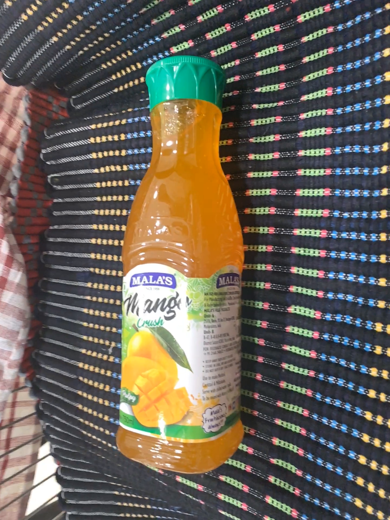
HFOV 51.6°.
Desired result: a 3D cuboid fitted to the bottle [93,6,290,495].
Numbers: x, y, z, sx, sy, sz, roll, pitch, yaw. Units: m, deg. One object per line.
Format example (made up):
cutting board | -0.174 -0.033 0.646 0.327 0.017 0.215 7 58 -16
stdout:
bottle | 0.004 -0.006 0.256 0.080 0.090 0.240 0 85 30
